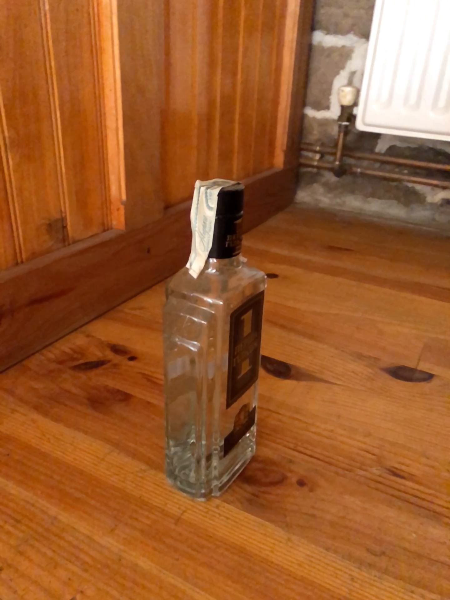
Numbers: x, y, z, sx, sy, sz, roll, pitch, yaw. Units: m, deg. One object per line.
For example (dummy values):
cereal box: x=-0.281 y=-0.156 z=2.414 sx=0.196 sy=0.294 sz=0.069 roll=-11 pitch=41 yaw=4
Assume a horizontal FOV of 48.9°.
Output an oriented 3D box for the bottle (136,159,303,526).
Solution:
bottle: x=-0.006 y=0.032 z=0.370 sx=0.060 sy=0.249 sz=0.101 roll=19 pitch=30 yaw=29
